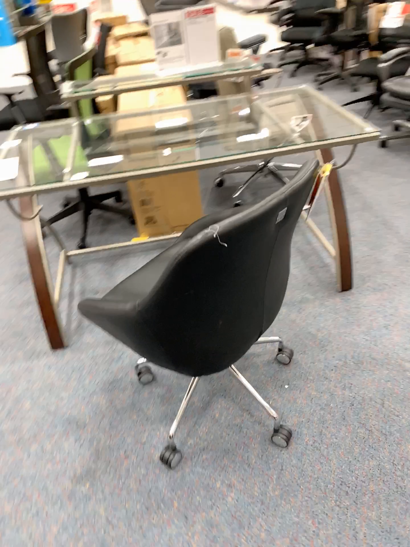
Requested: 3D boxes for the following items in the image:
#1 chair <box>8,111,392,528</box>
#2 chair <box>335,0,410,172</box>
[{"bbox_3d":[0.033,0.080,1.247,0.656,0.843,0.659,23,46,32],"label":"chair"},{"bbox_3d":[1.632,-1.486,2.956,0.895,1.062,0.902,-18,39,-15],"label":"chair"}]
